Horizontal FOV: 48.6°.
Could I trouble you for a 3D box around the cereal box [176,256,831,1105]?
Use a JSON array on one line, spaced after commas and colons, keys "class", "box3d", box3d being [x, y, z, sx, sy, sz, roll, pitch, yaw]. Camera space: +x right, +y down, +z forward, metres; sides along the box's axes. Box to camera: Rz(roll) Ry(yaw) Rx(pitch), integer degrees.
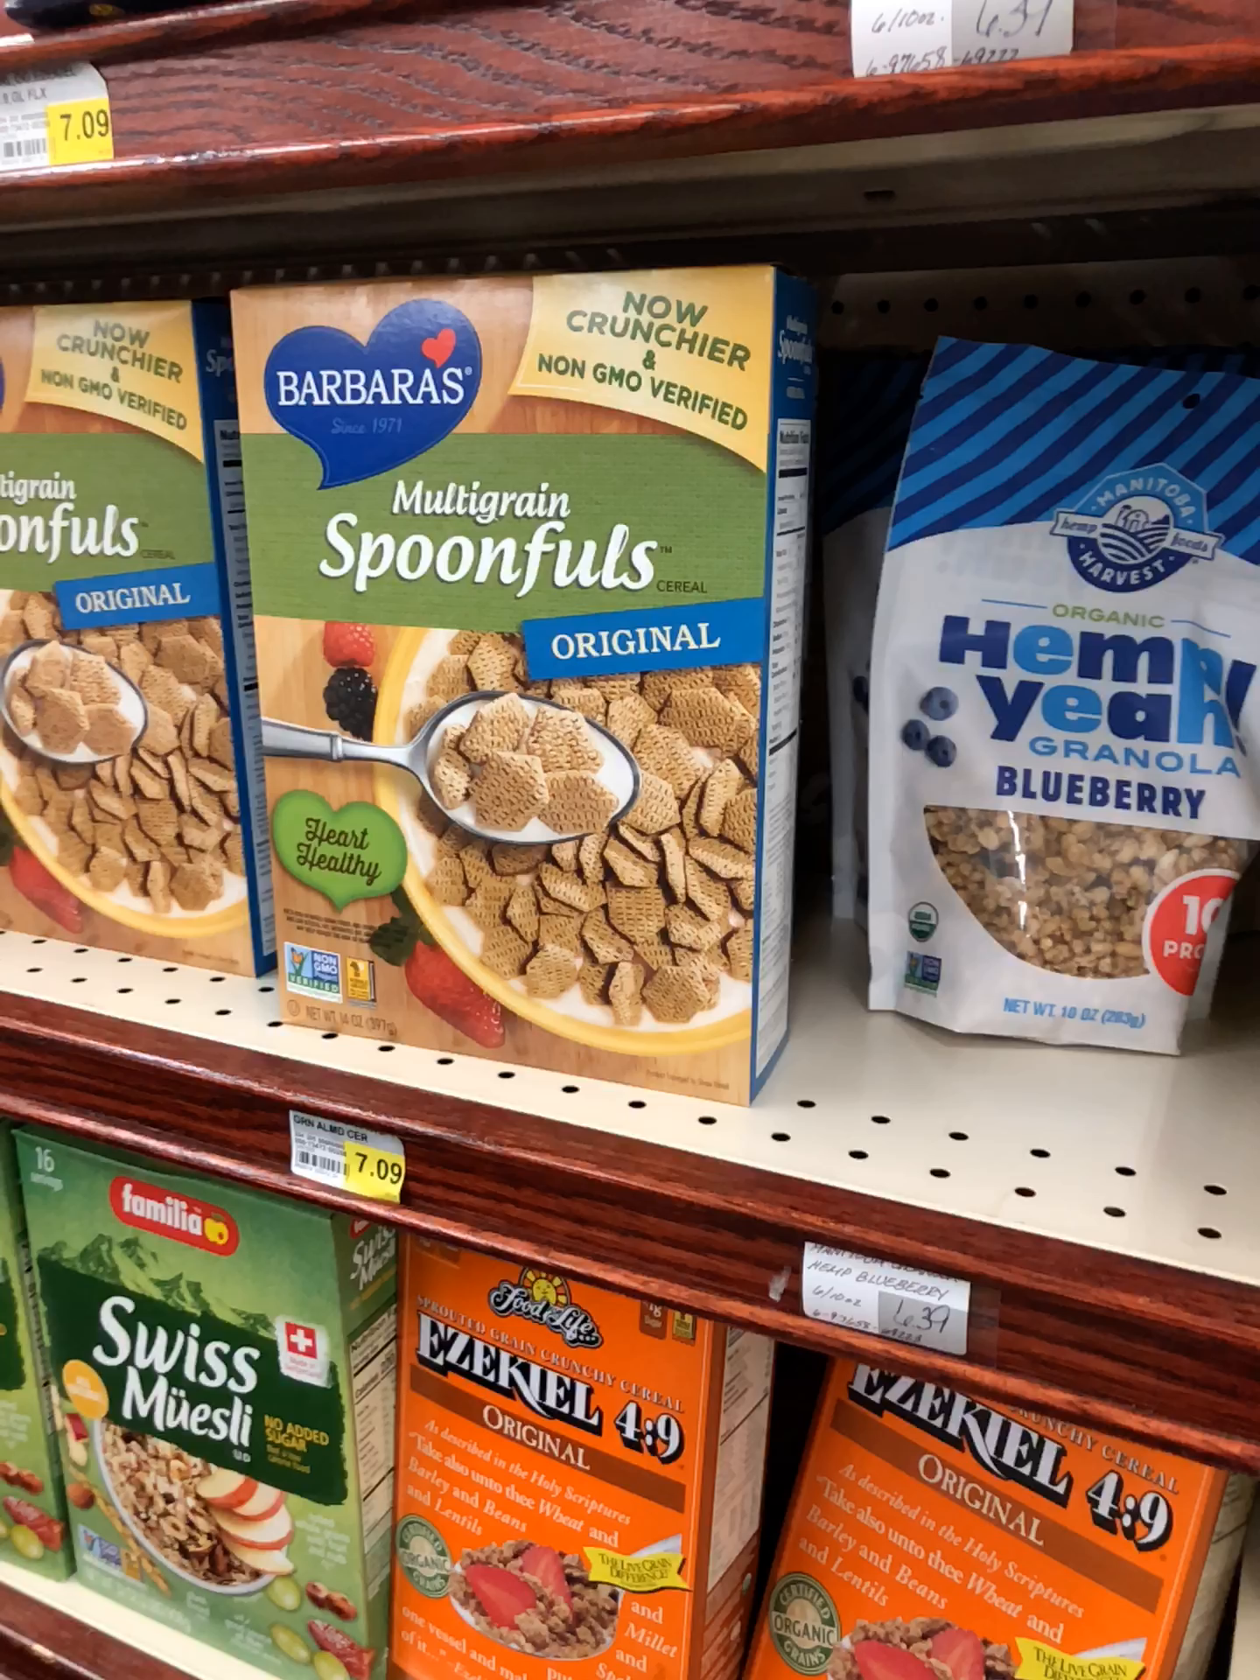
[{"class": "cereal box", "box3d": [-0.042, -0.054, 0.472, 0.200, 0.249, 0.060, 6, 16, 21]}]
